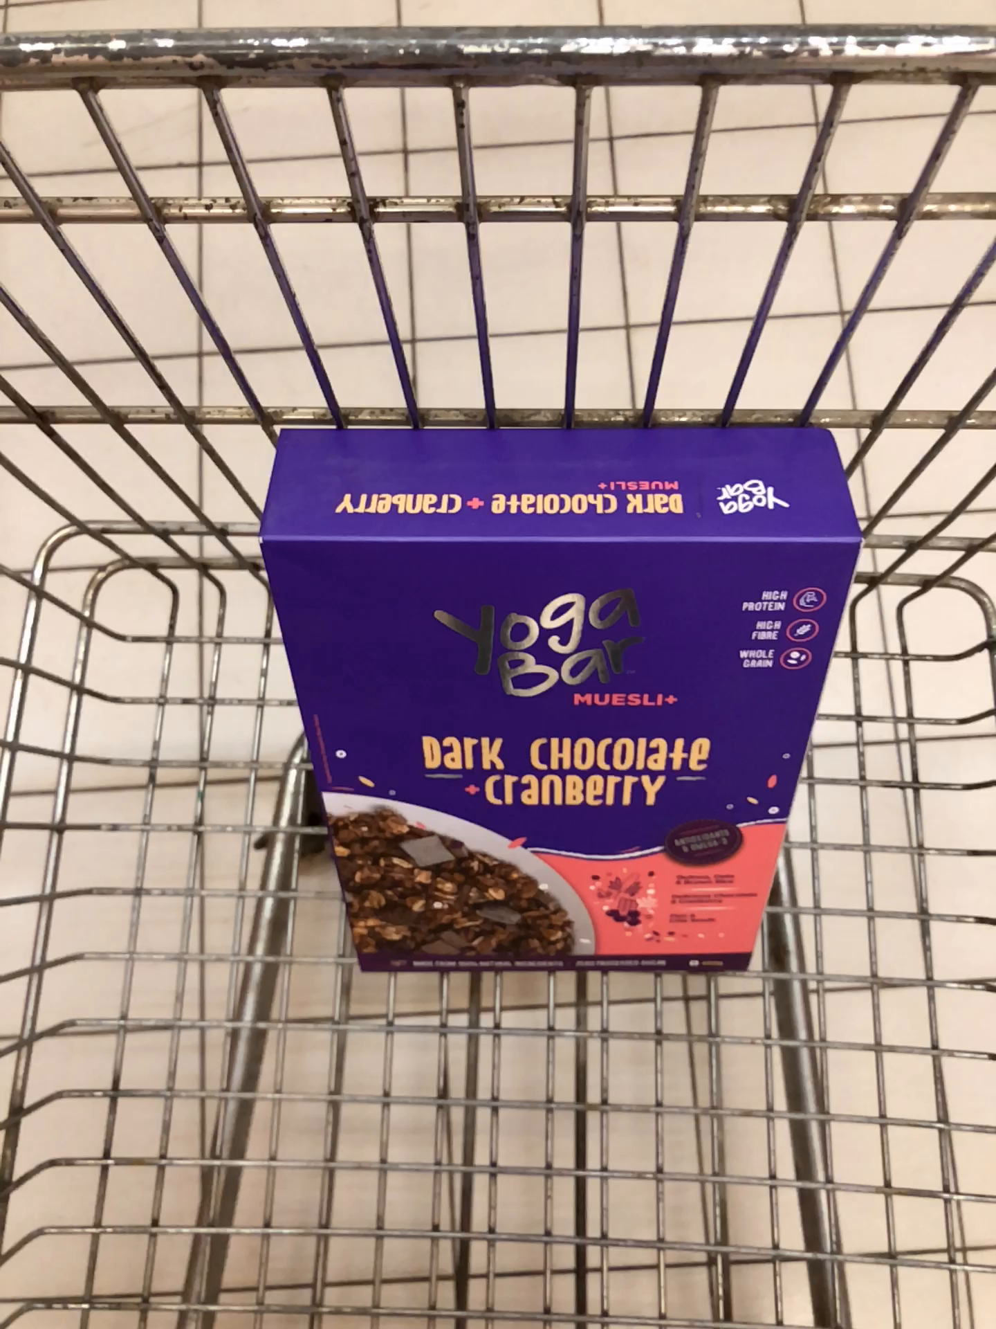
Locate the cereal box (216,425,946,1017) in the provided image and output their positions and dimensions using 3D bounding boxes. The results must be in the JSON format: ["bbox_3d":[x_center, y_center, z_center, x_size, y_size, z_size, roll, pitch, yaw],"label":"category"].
[{"bbox_3d":[0.023,0.035,0.377,0.180,0.229,0.060,0,45,2],"label":"cereal box"}]
